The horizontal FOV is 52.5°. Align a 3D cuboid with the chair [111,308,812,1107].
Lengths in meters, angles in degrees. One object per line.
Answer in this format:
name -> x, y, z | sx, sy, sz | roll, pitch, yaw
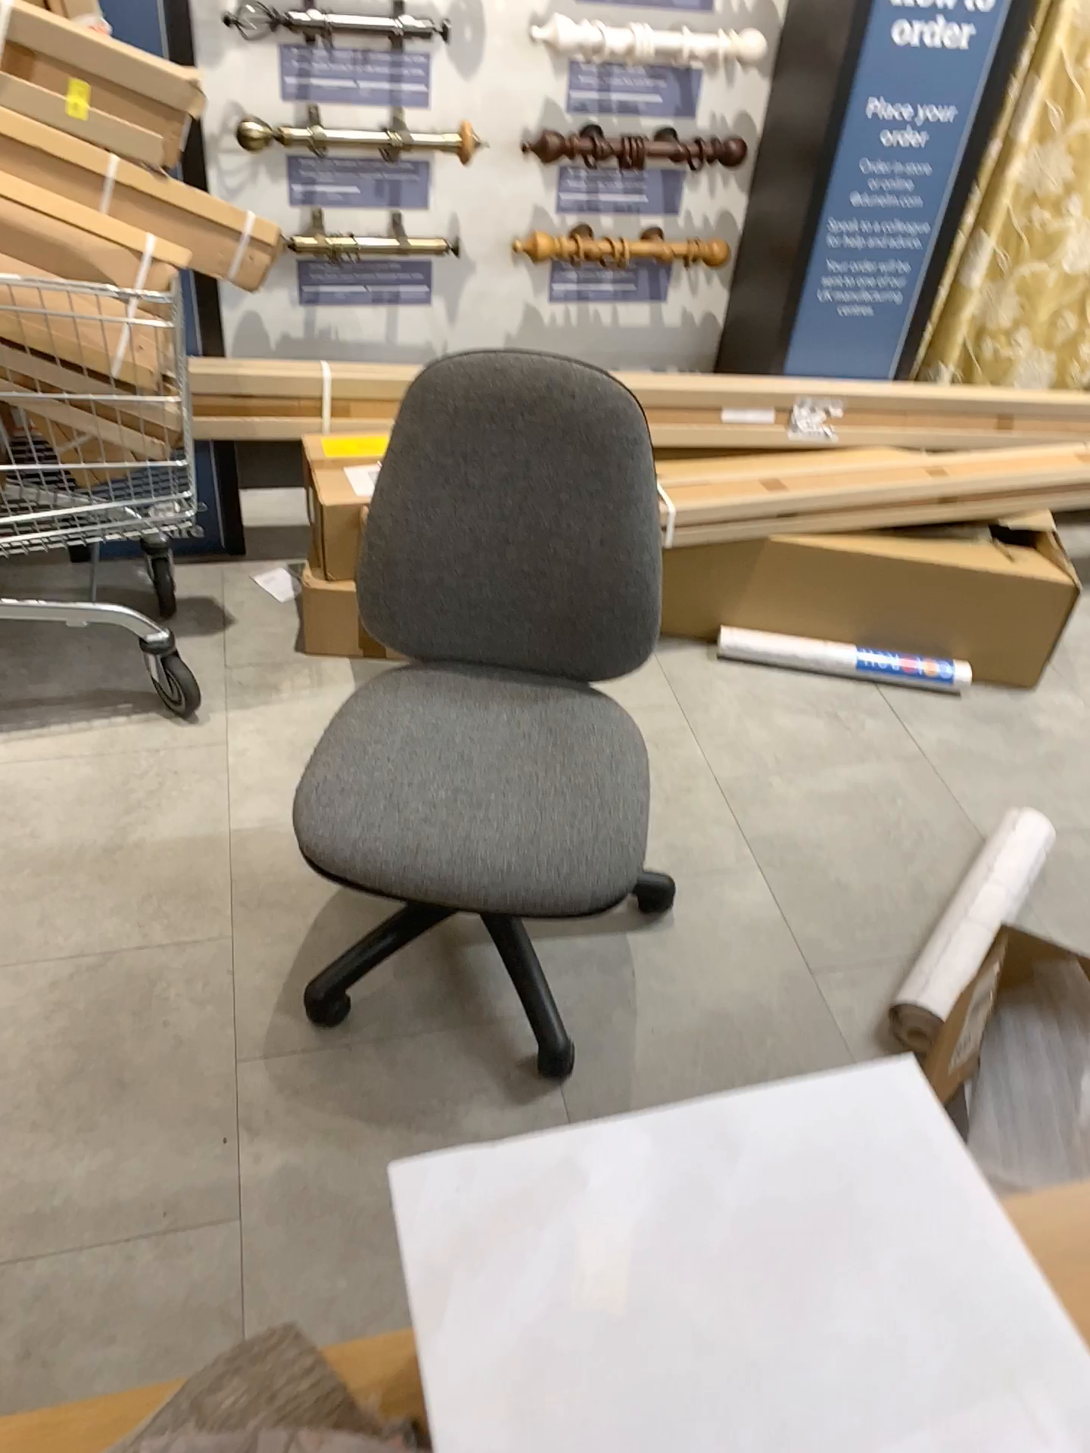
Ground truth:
chair -> -0.079, -0.024, 1.460 | 0.627, 0.750, 0.629 | 8, 41, 1
